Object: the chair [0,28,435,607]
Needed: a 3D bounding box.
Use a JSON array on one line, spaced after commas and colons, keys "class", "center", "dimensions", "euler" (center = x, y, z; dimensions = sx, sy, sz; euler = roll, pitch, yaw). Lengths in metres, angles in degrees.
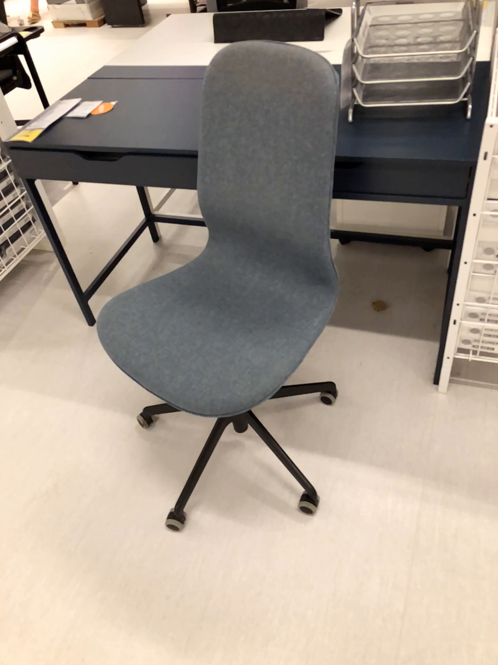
[{"class": "chair", "center": [-0.095, -0.045, 1.234], "dimensions": [0.642, 0.934, 0.682], "euler": [30, 56, 34]}]
